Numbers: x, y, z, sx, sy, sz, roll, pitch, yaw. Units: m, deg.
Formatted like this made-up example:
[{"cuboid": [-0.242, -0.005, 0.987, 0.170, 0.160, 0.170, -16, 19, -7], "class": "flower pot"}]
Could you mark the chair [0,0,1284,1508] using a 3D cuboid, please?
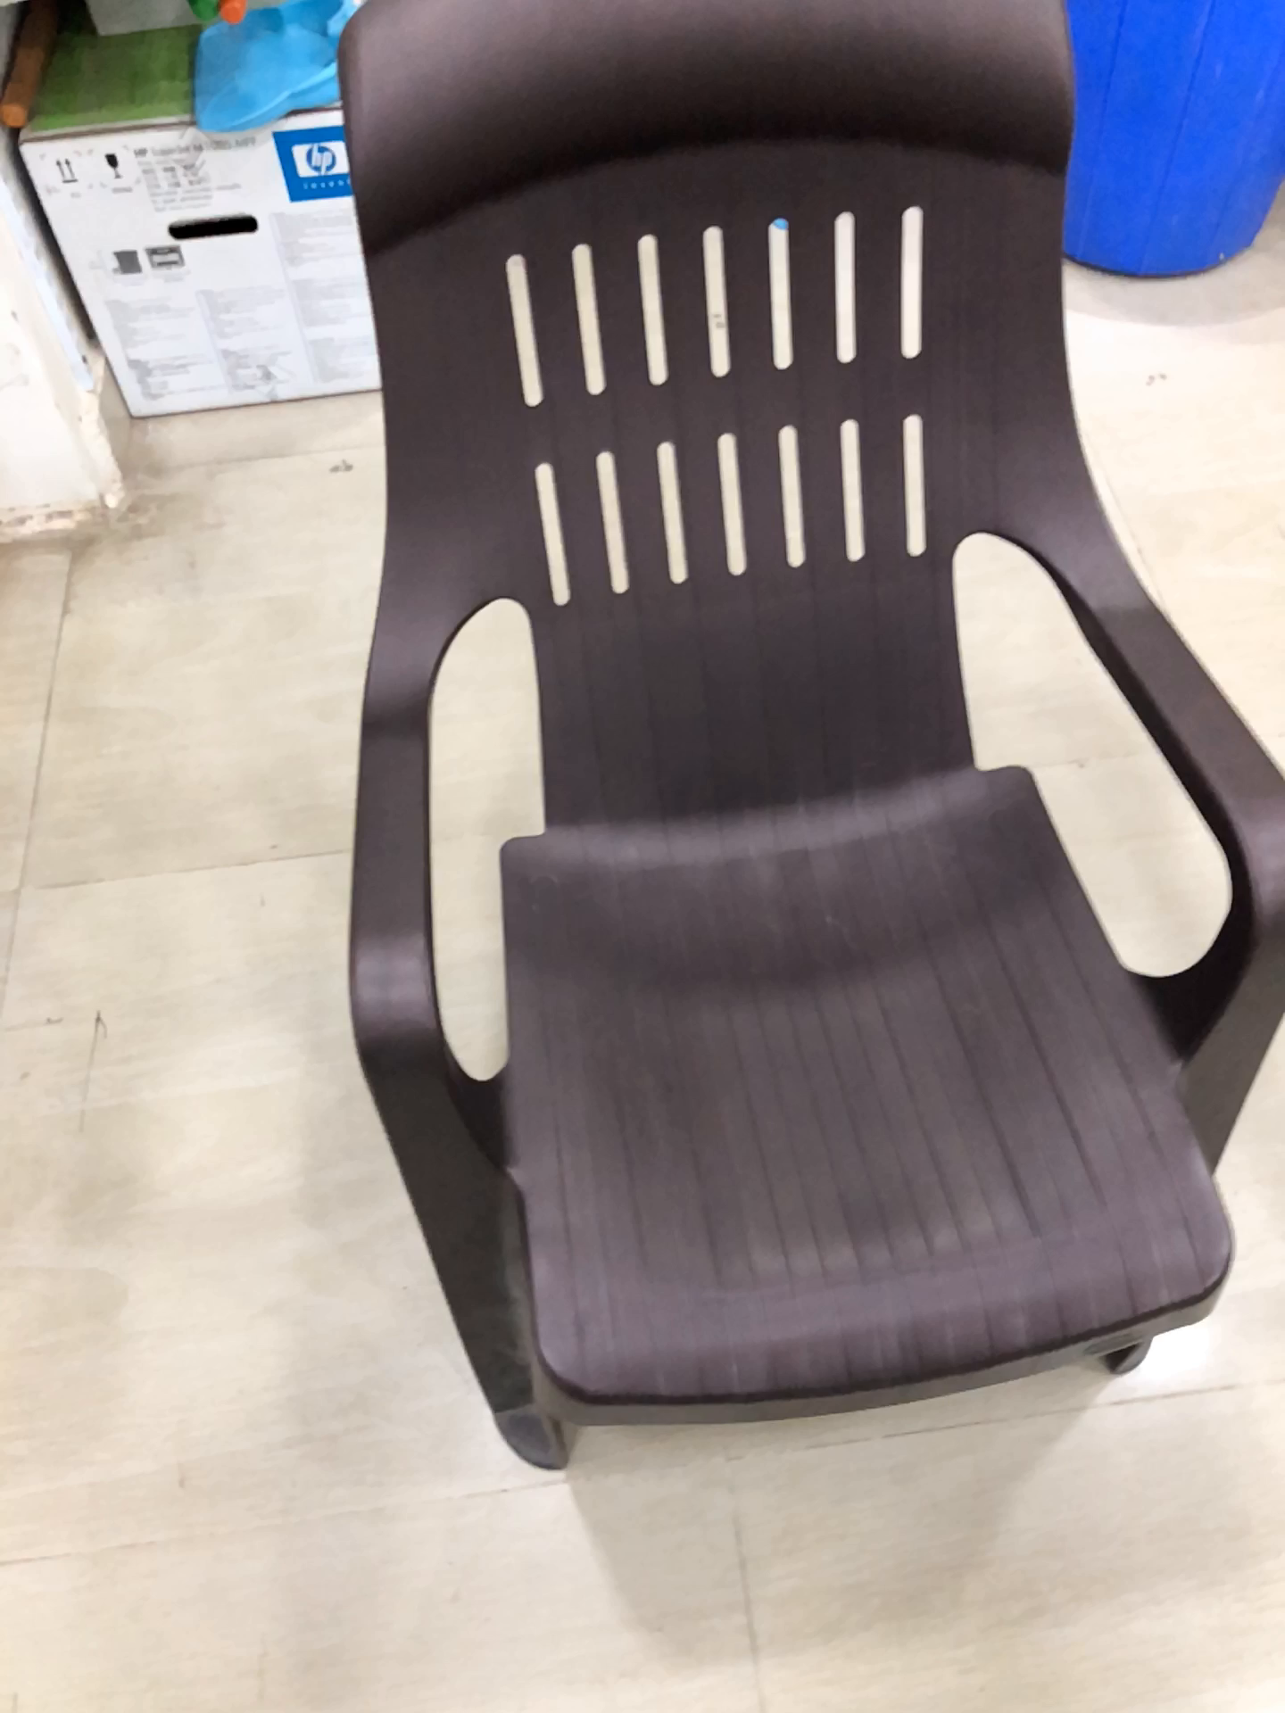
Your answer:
[{"cuboid": [0.088, -0.054, 0.973, 0.630, 0.846, 0.683, -8, 55, -3], "class": "chair"}]
